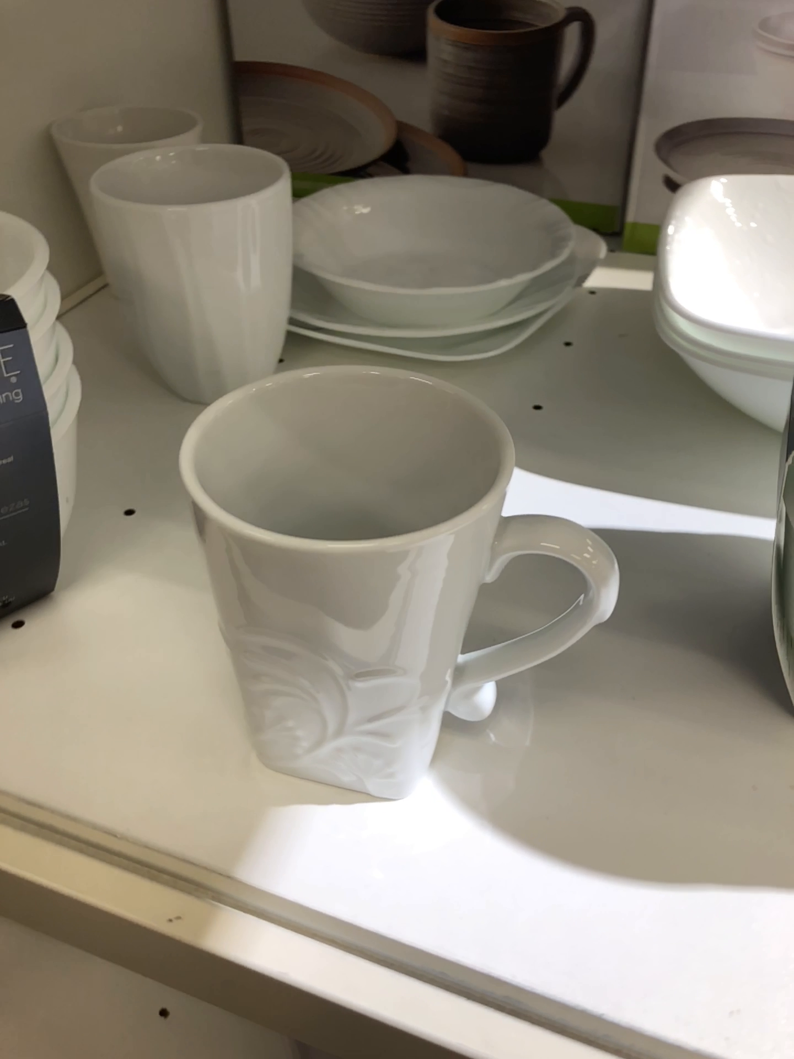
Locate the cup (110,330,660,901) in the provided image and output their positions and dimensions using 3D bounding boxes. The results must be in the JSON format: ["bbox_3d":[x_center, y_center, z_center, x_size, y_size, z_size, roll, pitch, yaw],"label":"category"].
[{"bbox_3d":[0.002,0.021,0.259,0.115,0.113,0.086,13,41,16],"label":"cup"}]
